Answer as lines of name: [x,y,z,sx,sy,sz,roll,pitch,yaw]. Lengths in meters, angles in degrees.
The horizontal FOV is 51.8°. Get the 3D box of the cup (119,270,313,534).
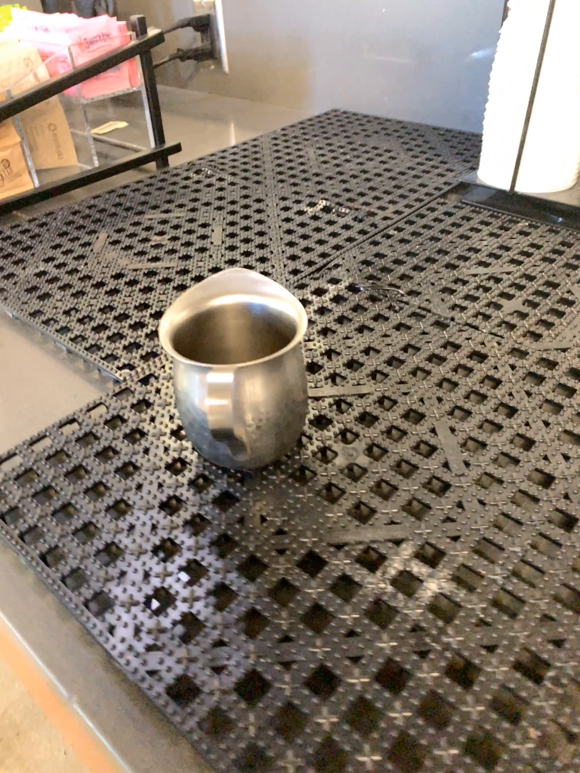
cup: [-0.025,0.003,0.283,0.070,0.070,0.111,-1,38,3]
